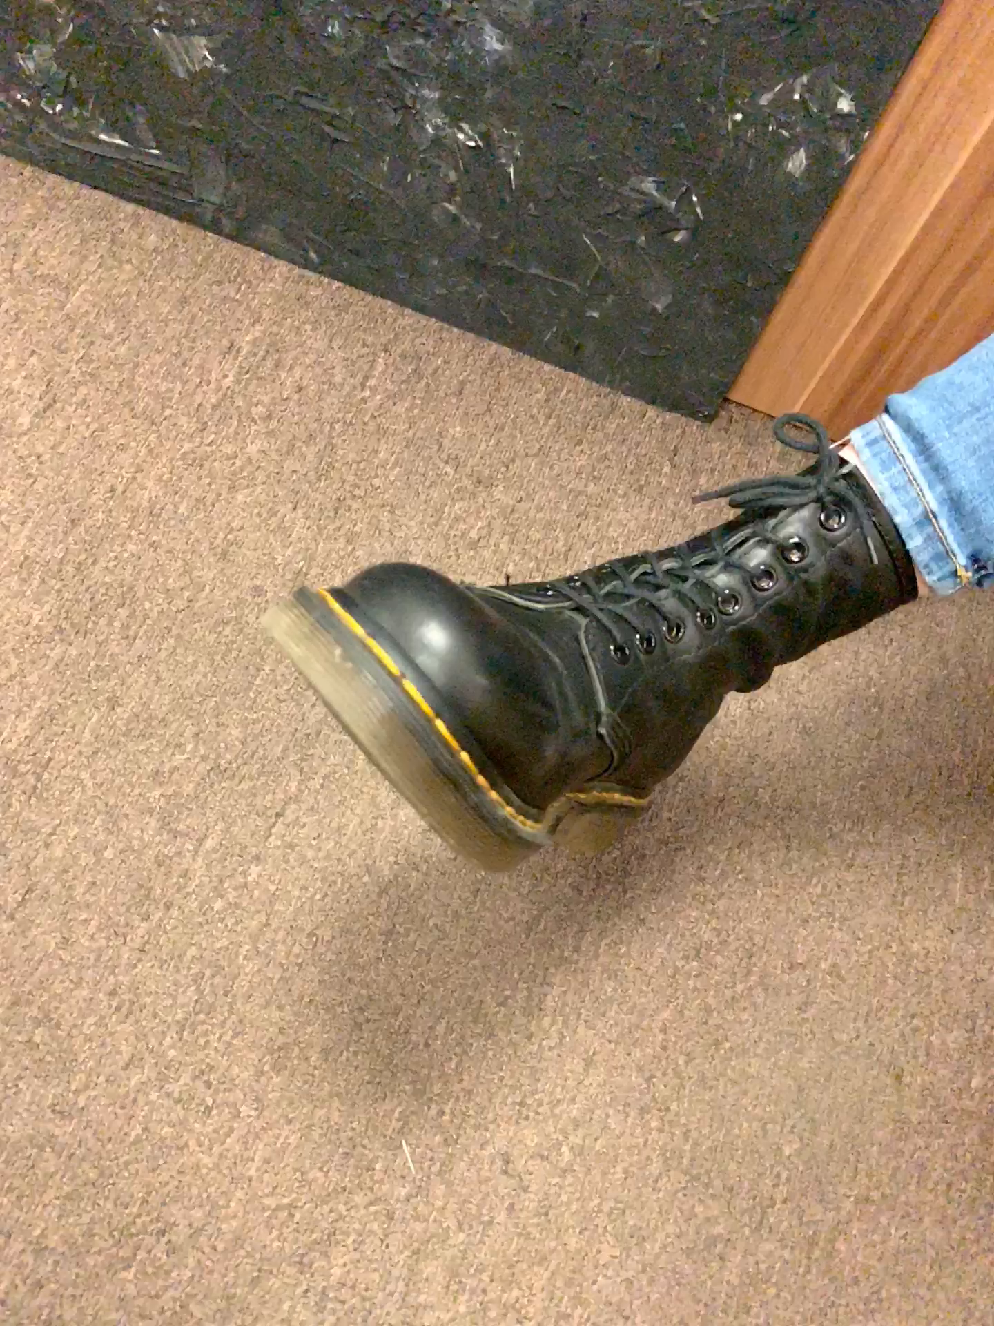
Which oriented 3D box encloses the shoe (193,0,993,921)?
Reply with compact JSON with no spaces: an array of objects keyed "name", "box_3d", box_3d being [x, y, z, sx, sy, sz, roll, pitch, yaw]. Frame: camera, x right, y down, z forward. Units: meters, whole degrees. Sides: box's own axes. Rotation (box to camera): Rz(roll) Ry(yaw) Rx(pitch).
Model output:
[{"name":"shoe","box_3d":[0.086,-0.034,0.425,0.230,0.370,0.120,-37,77,7]}]
